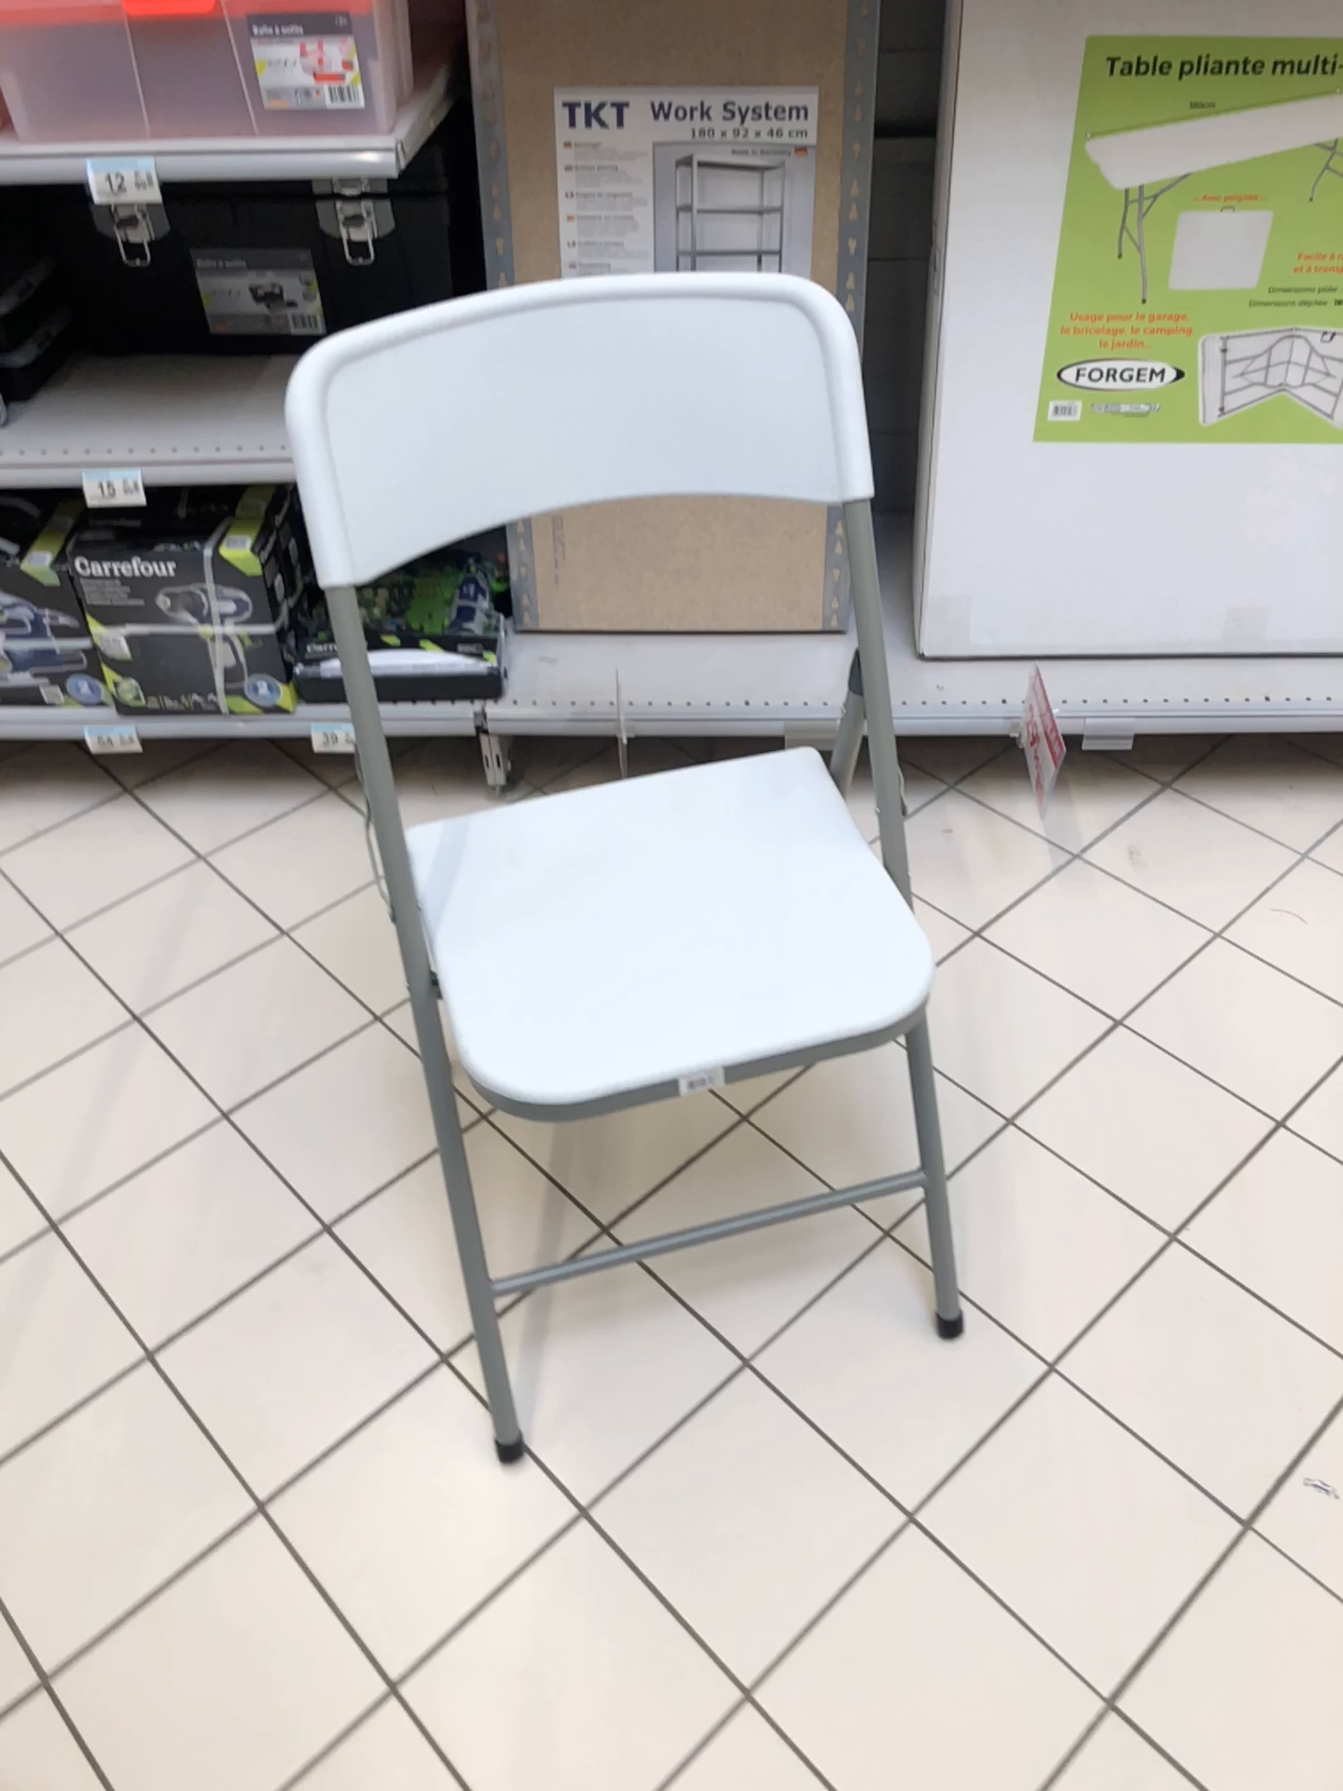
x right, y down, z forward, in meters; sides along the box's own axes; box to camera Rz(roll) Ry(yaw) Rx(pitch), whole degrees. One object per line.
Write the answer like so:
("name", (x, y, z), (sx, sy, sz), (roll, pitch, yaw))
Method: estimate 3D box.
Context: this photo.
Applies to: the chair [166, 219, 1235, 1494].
("chair", (-0.025, -0.032, 1.178), (0.541, 0.745, 0.563), (-12, 43, -10))
